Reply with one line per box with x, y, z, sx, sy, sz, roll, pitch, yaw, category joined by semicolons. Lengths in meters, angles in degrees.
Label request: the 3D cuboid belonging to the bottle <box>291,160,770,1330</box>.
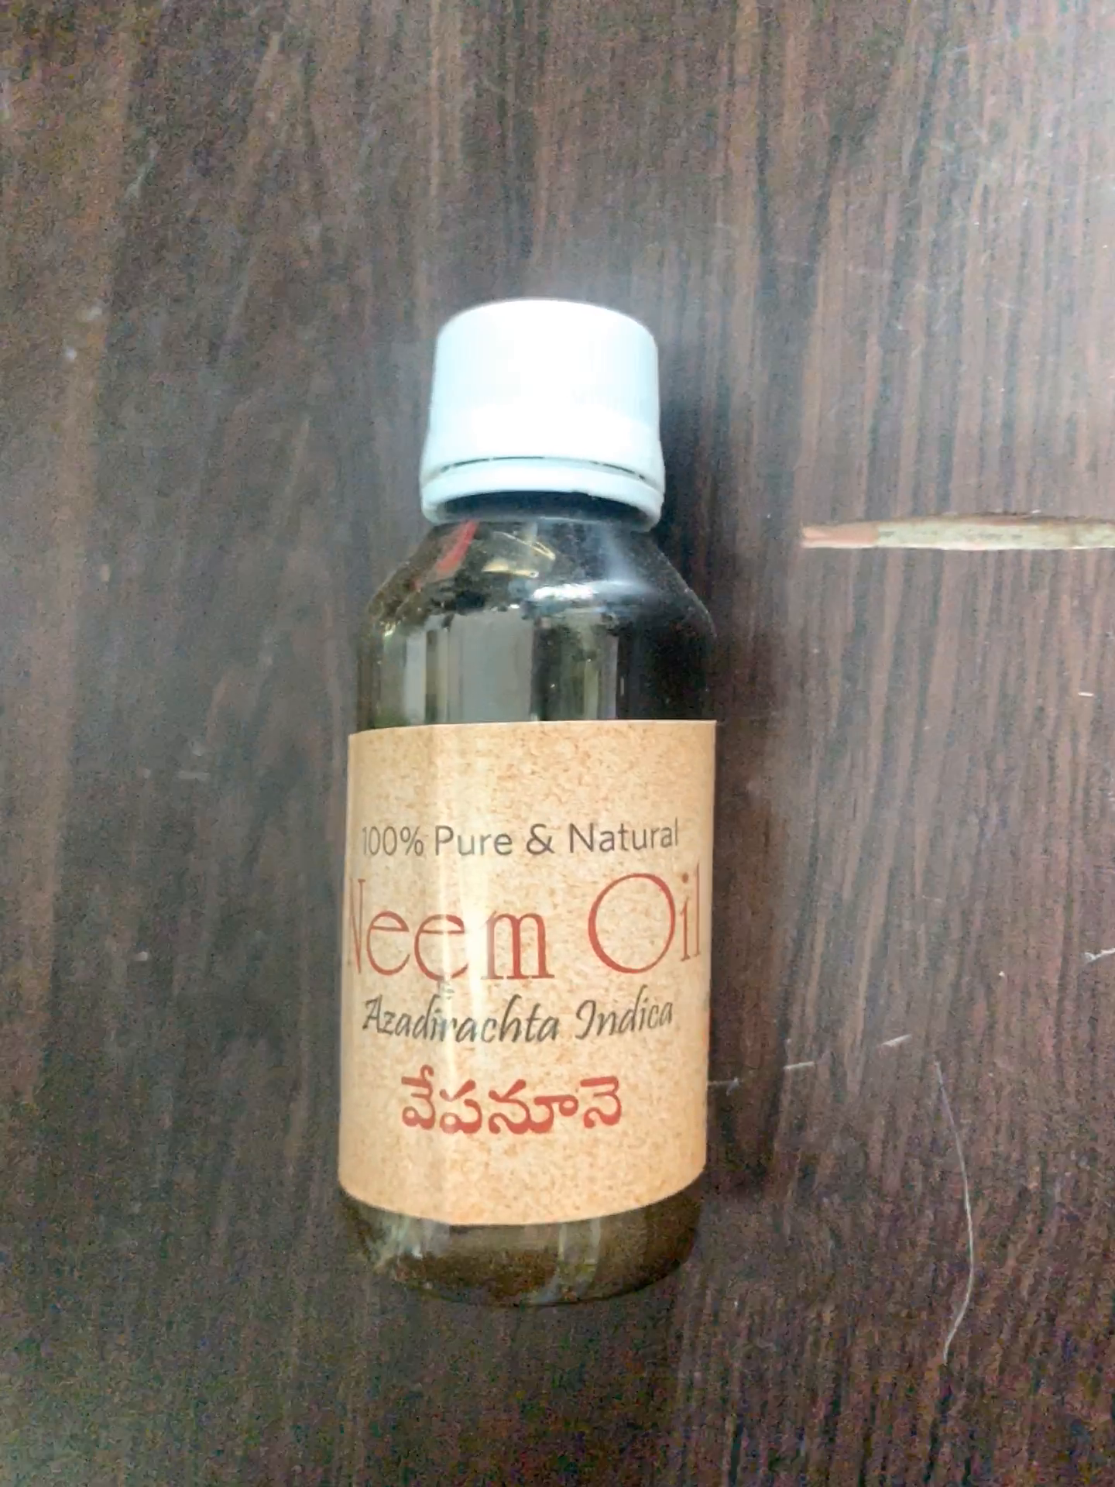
0.000;0.000;0.146;0.050;0.040;0.120;0;86;11;bottle
